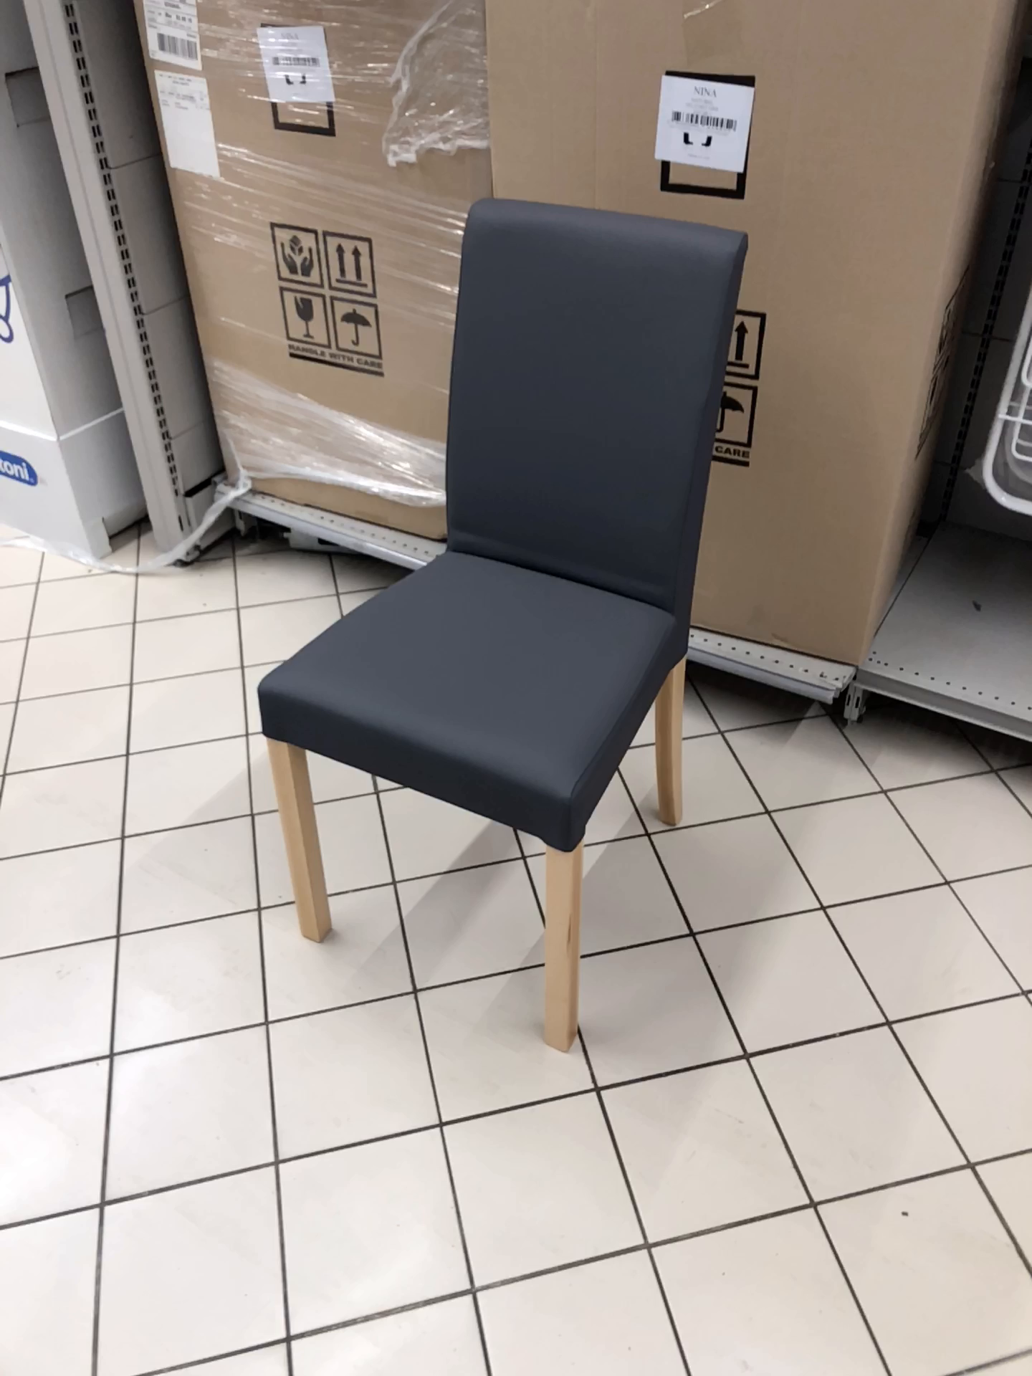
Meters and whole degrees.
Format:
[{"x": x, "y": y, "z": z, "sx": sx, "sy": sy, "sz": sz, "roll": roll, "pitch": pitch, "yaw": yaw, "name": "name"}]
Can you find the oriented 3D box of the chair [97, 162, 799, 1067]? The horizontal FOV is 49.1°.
[{"x": -0.016, "y": -0.102, "z": 1.357, "sx": 0.470, "sy": 0.825, "sz": 0.574, "roll": 15, "pitch": 41, "yaw": 21, "name": "chair"}]
